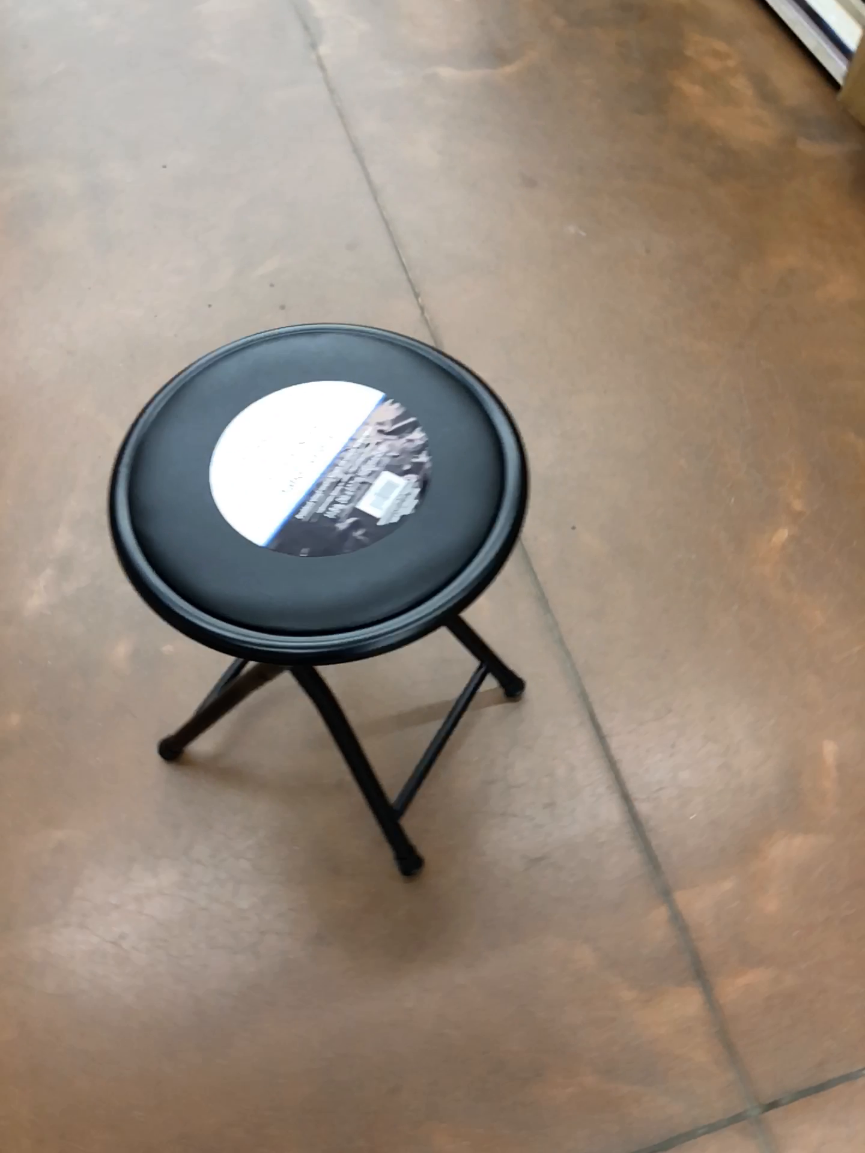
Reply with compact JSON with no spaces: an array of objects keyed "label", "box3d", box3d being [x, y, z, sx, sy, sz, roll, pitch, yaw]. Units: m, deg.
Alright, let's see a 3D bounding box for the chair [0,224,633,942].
[{"label":"chair","box3d":[-0.086,0.024,0.776,0.330,0.399,0.320,24,61,15]}]
